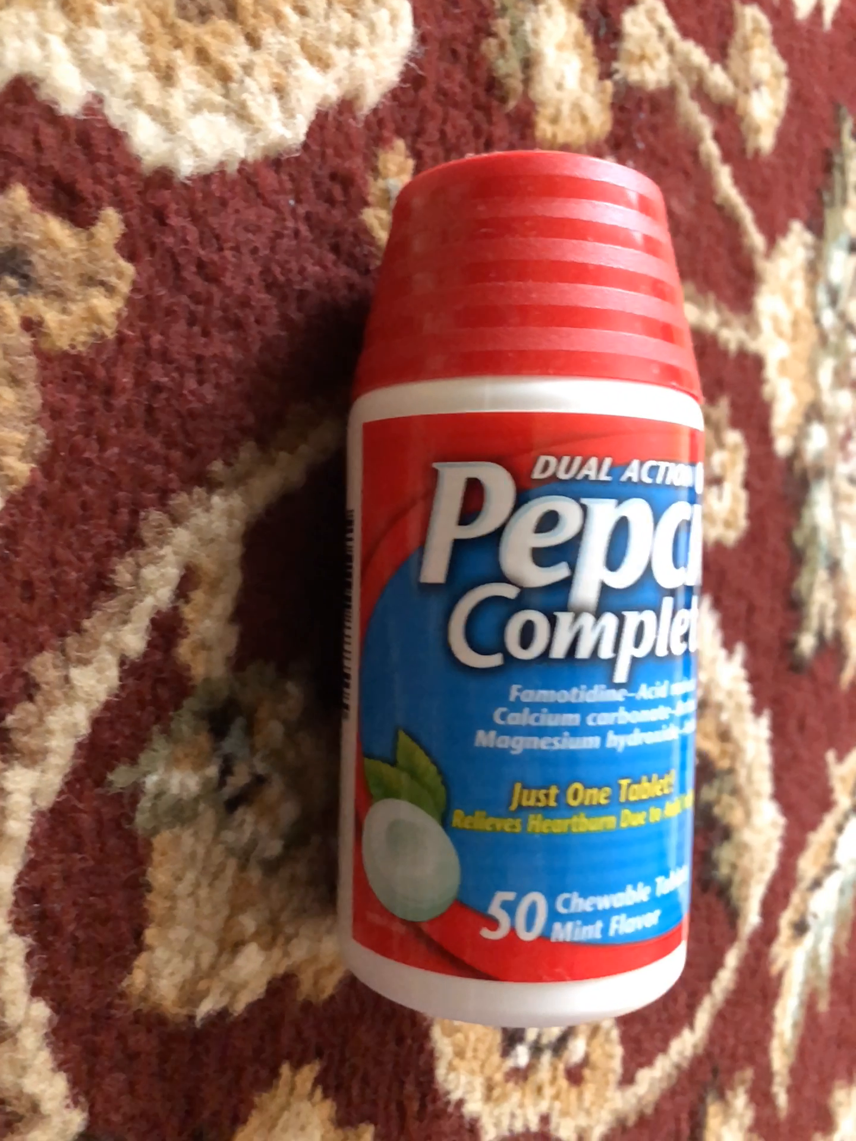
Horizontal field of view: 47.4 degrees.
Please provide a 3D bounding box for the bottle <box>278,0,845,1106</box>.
[{"bbox_3d":[0.017,-0.003,0.152,0.060,0.060,0.130,2,91,-26],"label":"bottle"}]
